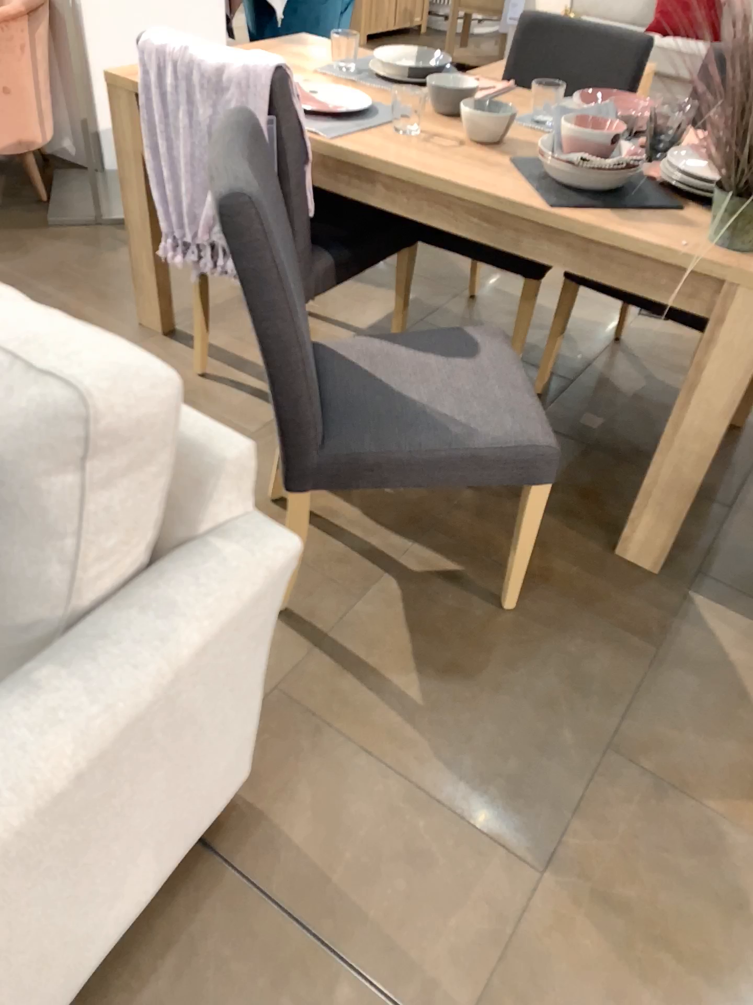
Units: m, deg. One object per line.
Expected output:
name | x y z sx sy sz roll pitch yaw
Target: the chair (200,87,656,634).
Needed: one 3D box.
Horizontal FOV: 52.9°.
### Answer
chair | 0.020 -0.235 1.485 0.614 0.889 0.511 0 41 -7
